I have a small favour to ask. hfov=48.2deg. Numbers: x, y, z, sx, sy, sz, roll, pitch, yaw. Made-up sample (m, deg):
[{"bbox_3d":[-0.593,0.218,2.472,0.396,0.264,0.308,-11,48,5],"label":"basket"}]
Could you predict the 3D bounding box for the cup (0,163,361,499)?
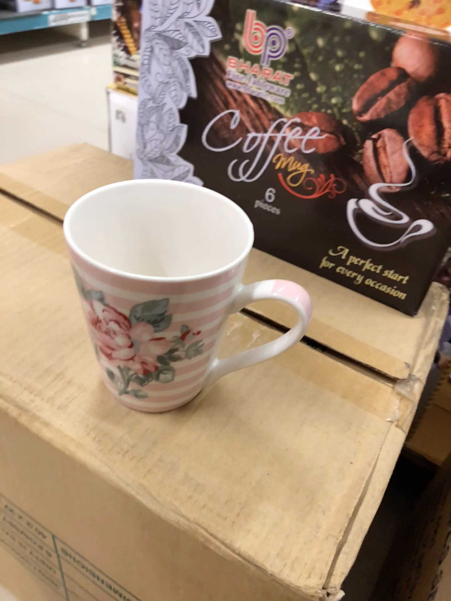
[{"bbox_3d":[-0.019,0.007,0.247,0.130,0.089,0.091,21,41,16],"label":"cup"}]
